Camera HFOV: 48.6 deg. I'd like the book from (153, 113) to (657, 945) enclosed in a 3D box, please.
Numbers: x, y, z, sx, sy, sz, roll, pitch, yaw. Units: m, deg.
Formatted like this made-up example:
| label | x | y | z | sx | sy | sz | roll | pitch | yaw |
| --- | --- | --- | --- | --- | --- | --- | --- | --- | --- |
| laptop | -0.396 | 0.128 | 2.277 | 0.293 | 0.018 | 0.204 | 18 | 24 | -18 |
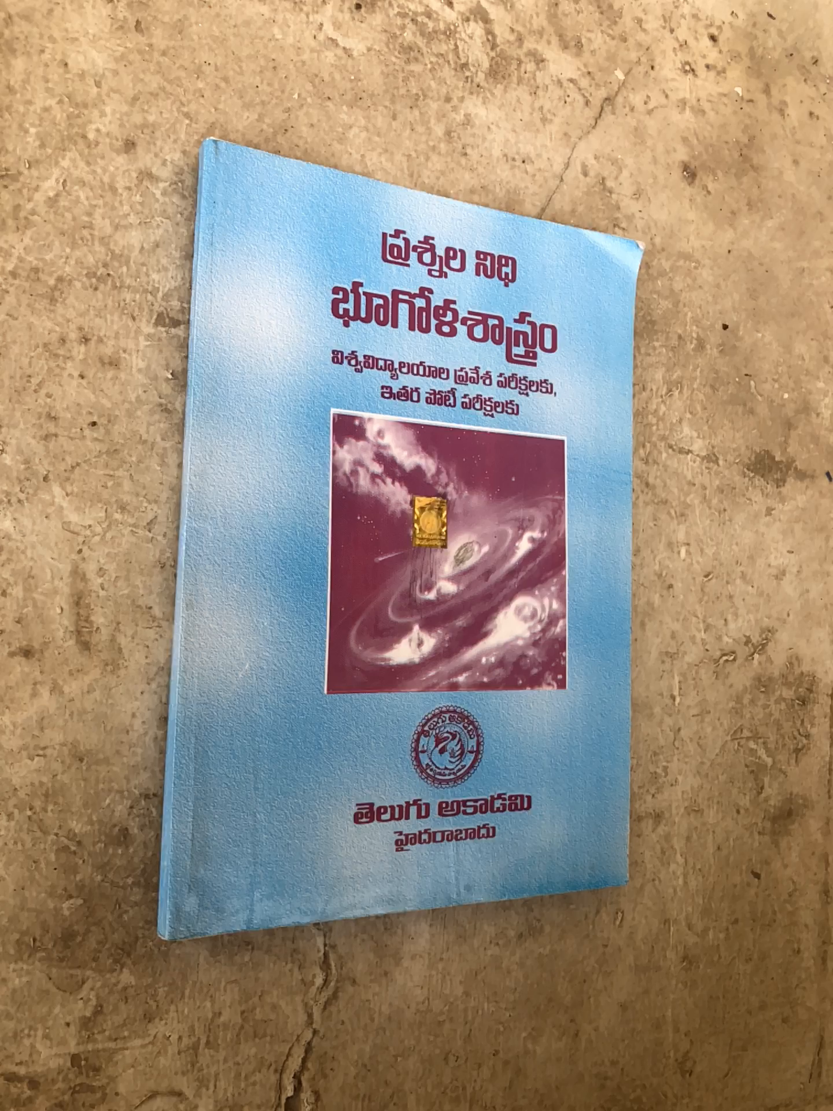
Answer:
| label | x | y | z | sx | sy | sz | roll | pitch | yaw |
| --- | --- | --- | --- | --- | --- | --- | --- | --- | --- |
| book | 0.003 | -0.008 | 0.357 | 0.190 | 0.040 | 0.270 | 3 | 85 | -26 |
